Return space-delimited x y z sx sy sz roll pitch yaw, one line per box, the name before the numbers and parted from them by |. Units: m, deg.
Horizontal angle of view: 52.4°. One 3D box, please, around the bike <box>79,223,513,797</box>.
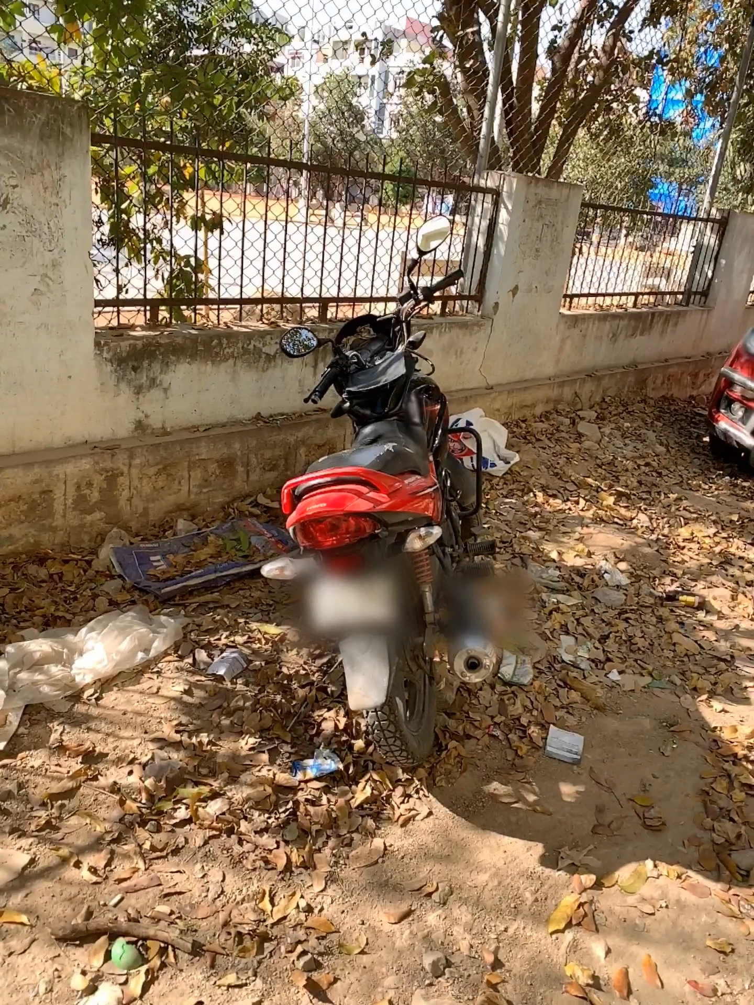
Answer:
bike | -0.154 -0.124 2.214 0.822 1.067 1.296 7 24 2
